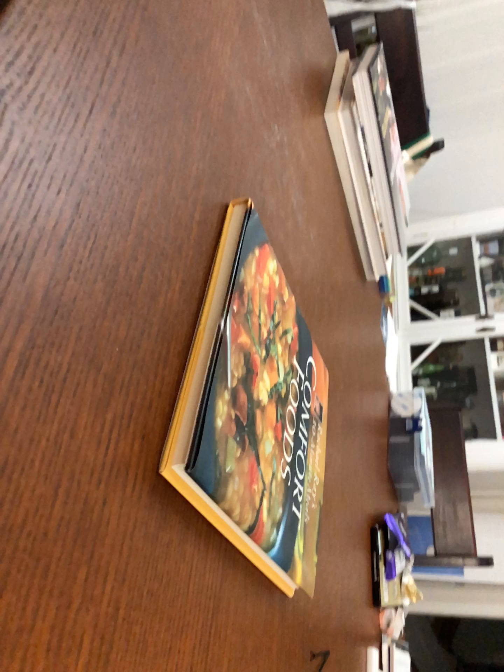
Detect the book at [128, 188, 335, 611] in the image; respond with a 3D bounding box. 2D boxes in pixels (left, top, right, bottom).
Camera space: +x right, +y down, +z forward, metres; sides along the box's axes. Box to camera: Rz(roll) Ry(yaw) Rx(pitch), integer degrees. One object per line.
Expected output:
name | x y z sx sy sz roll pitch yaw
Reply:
book | 0.010 0.049 0.377 0.210 0.030 0.201 61 30 -45
